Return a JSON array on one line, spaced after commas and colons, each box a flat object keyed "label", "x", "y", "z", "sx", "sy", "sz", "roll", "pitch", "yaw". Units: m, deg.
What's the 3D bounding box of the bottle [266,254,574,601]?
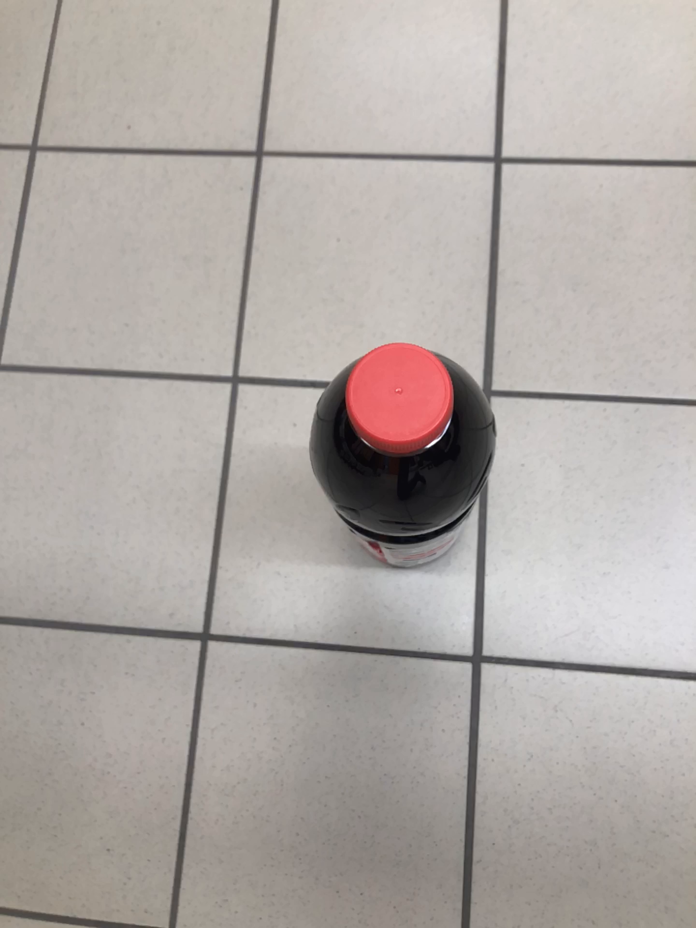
[{"label": "bottle", "x": 0.036, "y": 0.010, "z": 0.421, "sx": 0.090, "sy": 0.290, "sz": 0.100, "roll": -13, "pitch": 77, "yaw": 2}]
